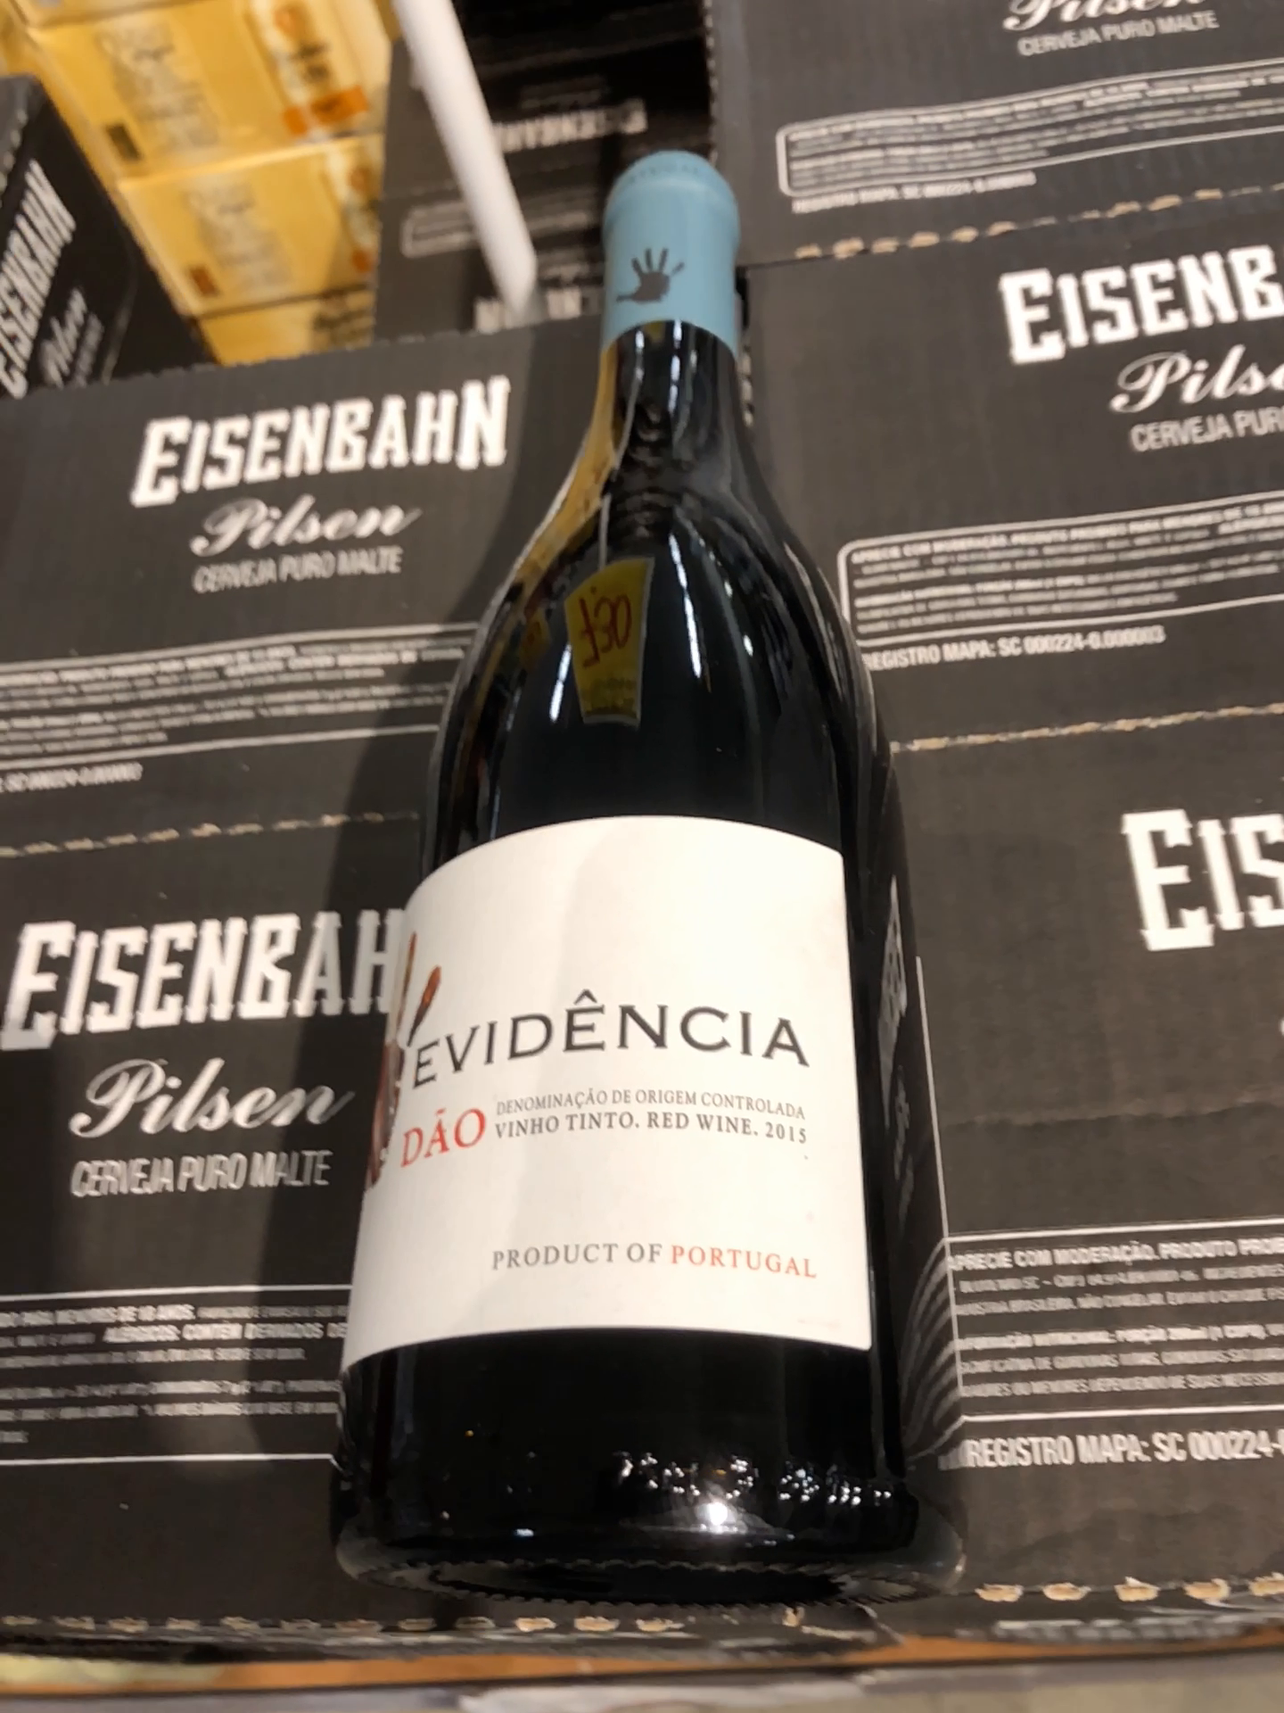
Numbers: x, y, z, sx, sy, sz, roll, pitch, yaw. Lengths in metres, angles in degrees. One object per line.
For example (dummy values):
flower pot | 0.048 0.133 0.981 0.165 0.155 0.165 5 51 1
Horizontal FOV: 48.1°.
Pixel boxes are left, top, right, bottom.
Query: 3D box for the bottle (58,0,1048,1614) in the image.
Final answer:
bottle | -0.002 -0.052 0.258 0.100 0.090 0.331 -5 61 10
